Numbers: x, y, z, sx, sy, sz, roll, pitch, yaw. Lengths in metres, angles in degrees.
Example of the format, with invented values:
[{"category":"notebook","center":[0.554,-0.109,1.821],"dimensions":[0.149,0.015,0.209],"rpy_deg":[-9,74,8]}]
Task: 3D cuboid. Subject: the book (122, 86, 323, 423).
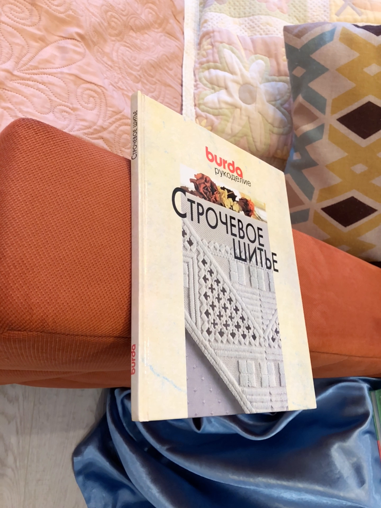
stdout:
[{"category":"book","center":[0.038,0.008,0.381],"dimensions":[0.216,0.020,0.258],"rpy_deg":[16,65,-40]}]
